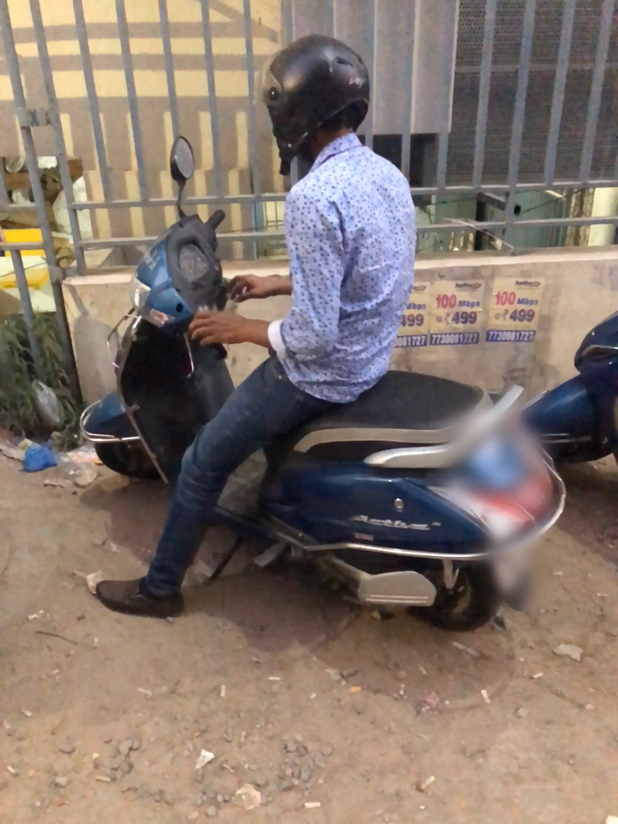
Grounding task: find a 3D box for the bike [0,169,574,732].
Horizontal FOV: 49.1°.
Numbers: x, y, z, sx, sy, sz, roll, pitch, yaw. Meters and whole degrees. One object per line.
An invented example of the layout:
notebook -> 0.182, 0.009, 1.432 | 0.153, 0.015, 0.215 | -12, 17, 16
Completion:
bike -> -0.130, 0.009, 2.010 | 1.470, 1.130, 0.619 | 15, 30, 23
